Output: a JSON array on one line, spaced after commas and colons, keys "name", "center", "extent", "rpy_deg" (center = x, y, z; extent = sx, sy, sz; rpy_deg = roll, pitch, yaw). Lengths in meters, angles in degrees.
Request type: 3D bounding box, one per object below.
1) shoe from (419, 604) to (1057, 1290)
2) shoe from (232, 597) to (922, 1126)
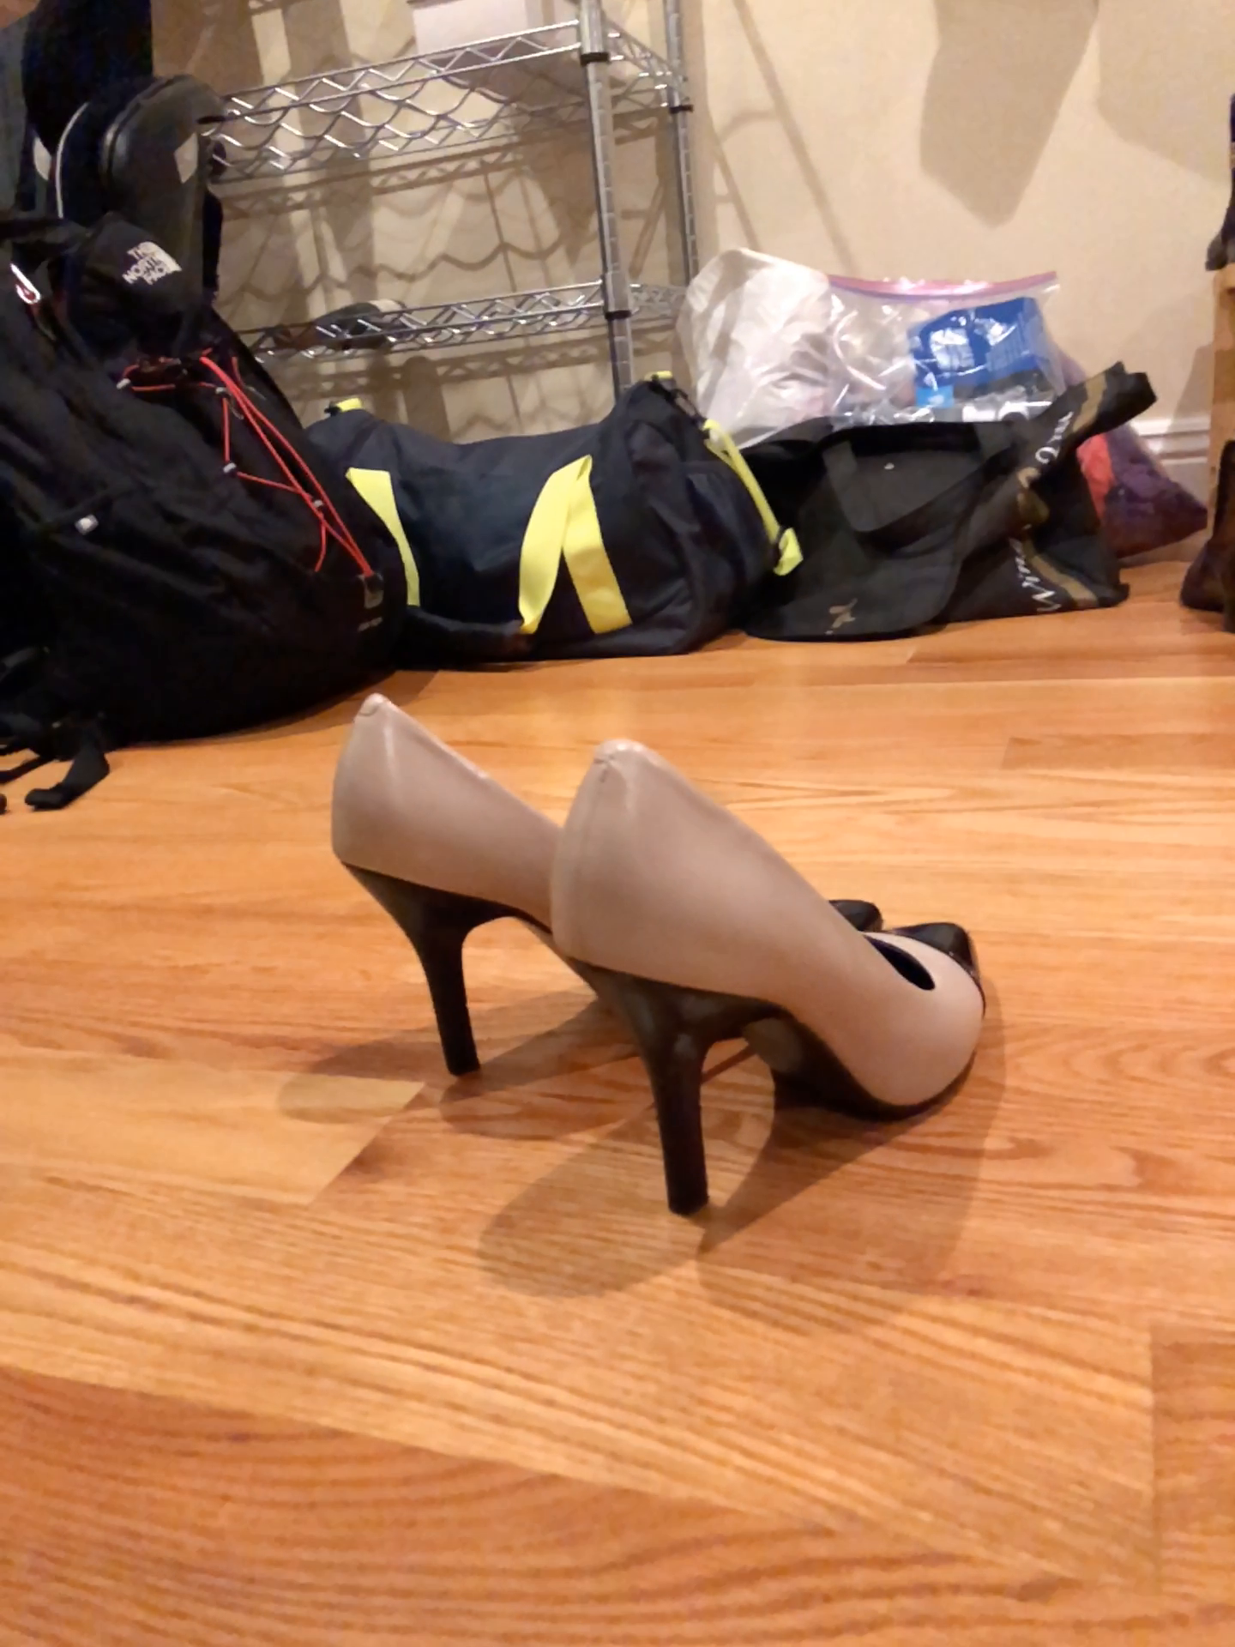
[{"name": "shoe", "center": [0.058, 0.017, 0.445], "extent": [0.085, 0.138, 0.236], "rpy_deg": [8, 21, 38]}, {"name": "shoe", "center": [-0.010, 0.003, 0.514], "extent": [0.235, 0.138, 0.085], "rpy_deg": [-12, 17, -20]}]
